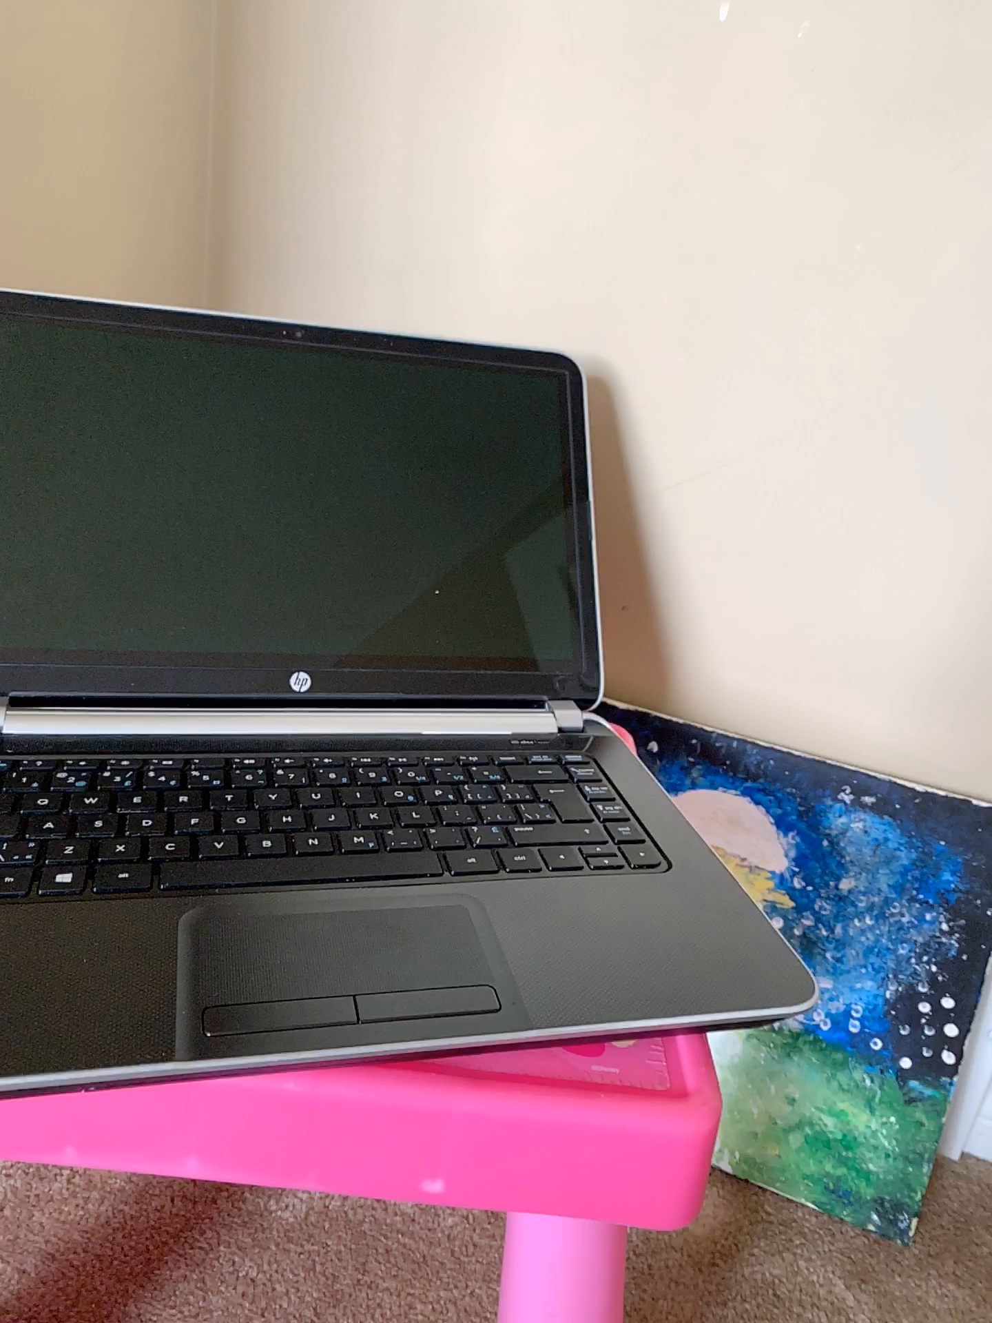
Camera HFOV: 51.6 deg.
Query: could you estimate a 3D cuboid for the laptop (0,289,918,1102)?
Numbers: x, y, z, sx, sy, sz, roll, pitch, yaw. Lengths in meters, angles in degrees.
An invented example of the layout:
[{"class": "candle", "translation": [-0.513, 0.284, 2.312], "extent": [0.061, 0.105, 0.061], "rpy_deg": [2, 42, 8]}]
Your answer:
[{"class": "laptop", "translation": [-0.065, -0.023, 0.380], "extent": [0.274, 0.161, 0.272], "rpy_deg": [1, 24, -17]}]
